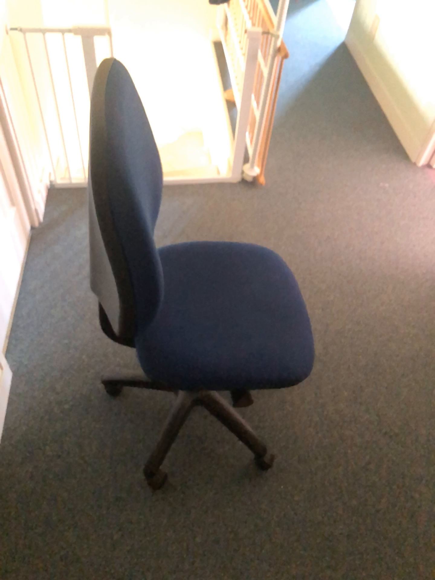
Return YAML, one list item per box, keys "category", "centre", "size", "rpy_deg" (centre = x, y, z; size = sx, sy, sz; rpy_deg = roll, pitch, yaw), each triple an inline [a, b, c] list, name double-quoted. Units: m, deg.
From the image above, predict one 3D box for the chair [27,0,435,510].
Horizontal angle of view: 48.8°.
- category: "chair"
  centre: [0.000, -0.019, 1.234]
  size: [0.671, 1.114, 0.703]
  rpy_deg: [-5, 51, -11]
